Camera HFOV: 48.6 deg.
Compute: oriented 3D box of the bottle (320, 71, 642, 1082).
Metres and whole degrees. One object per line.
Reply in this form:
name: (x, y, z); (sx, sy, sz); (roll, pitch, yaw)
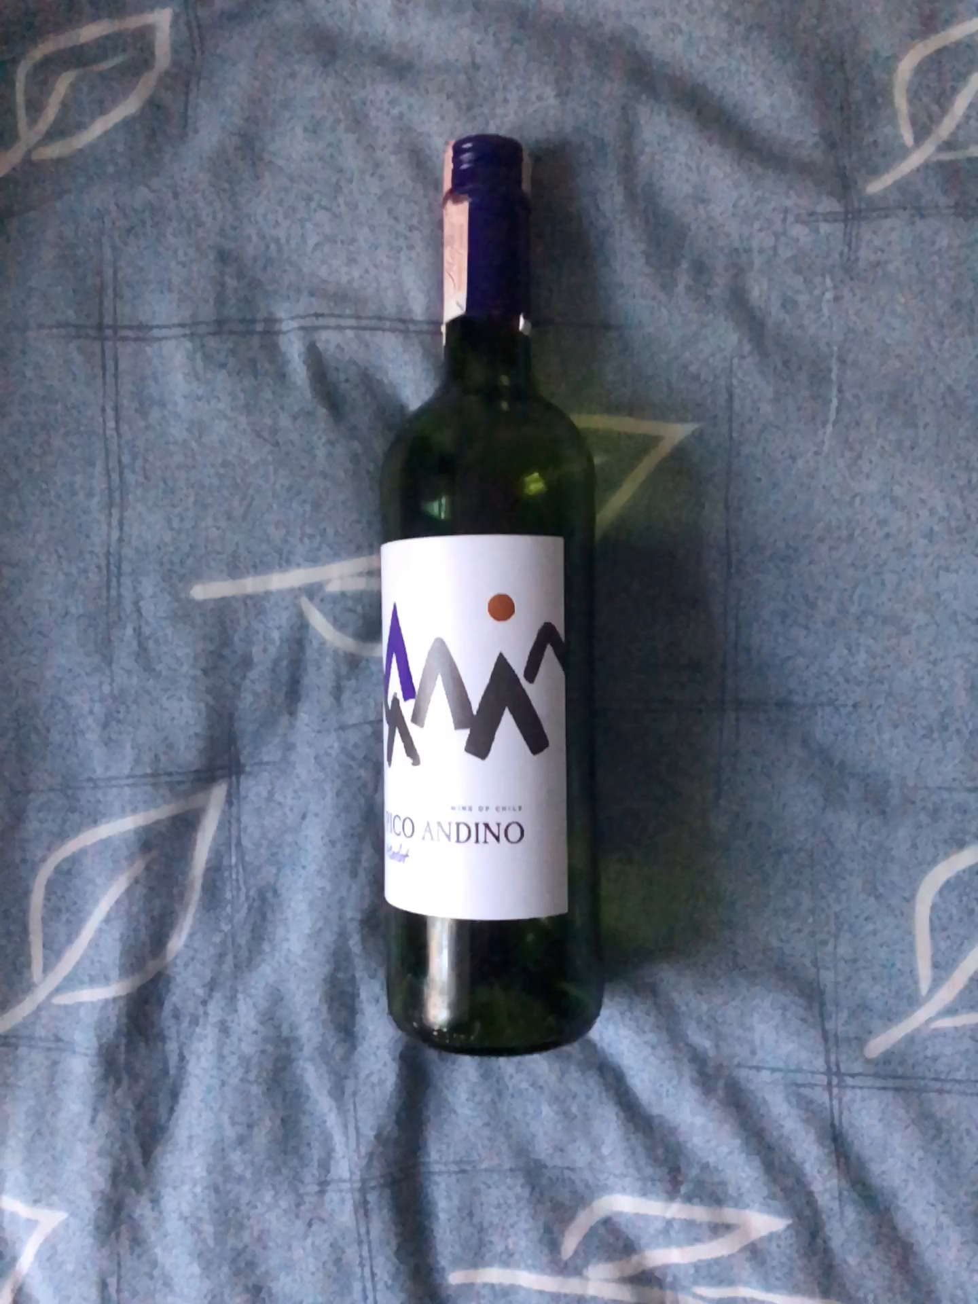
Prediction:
bottle: (0.001, -0.021, 0.363); (0.080, 0.080, 0.290); (-1, 90, 22)
